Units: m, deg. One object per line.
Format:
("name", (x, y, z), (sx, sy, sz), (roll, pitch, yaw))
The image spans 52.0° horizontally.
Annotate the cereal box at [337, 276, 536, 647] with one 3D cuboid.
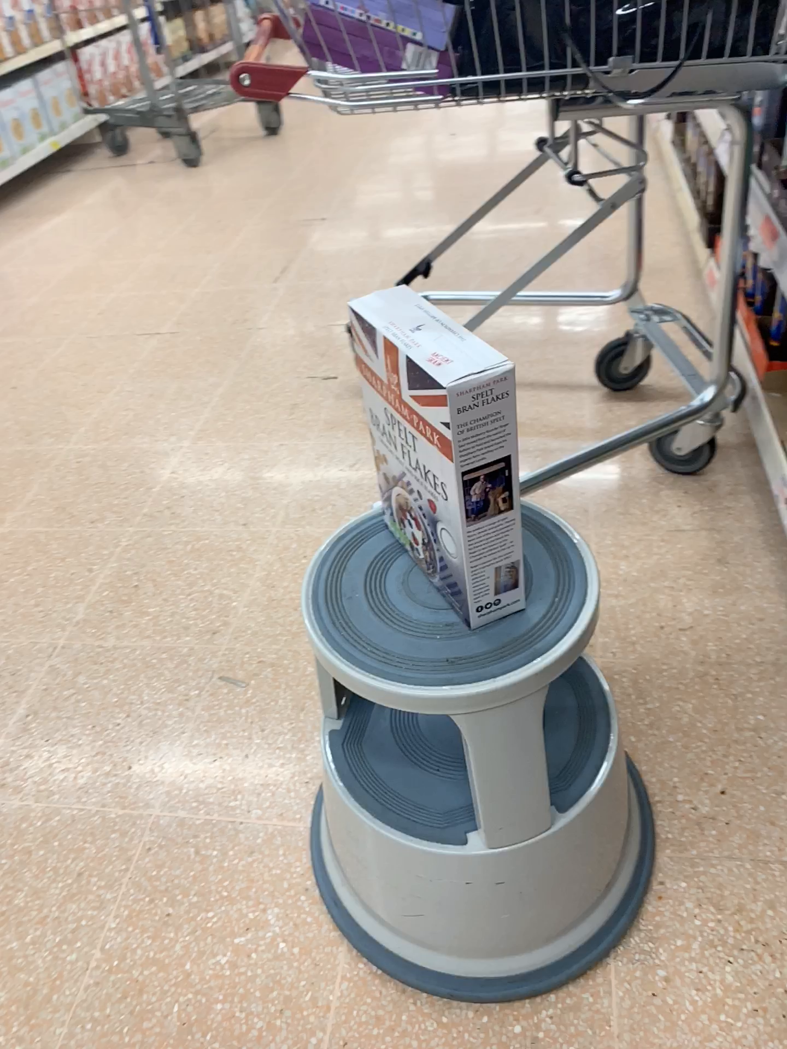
("cereal box", (0.040, -0.058, 0.718), (0.070, 0.258, 0.202), (-21, 39, -14))
